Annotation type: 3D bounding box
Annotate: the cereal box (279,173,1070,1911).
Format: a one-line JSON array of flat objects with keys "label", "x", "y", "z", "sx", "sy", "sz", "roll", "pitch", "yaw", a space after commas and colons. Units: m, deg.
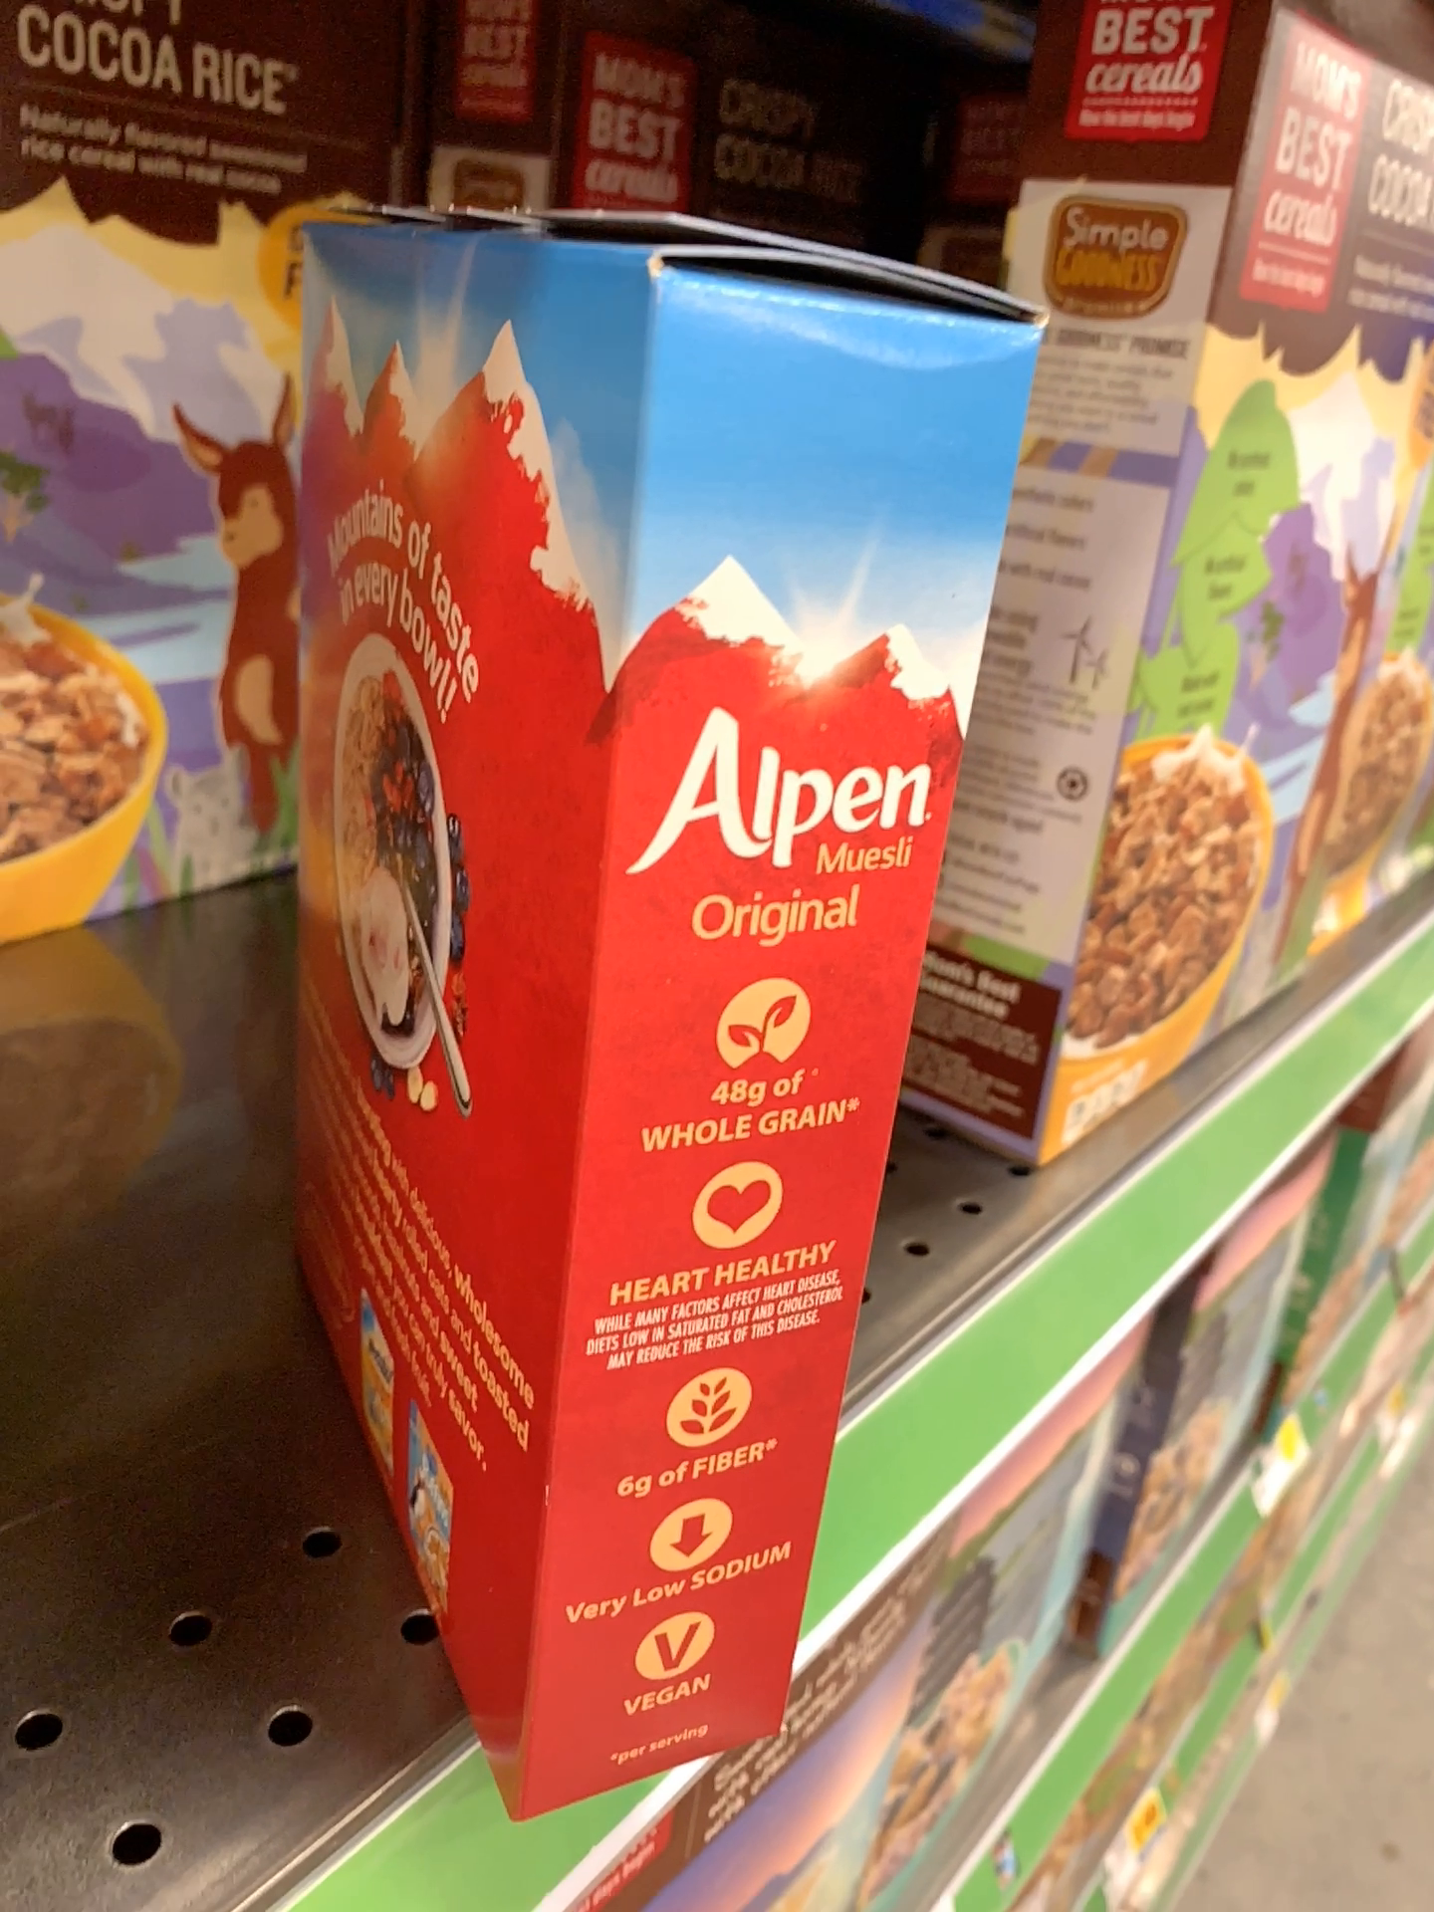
[{"label": "cereal box", "x": -0.032, "y": -0.001, "z": 0.233, "sx": 0.040, "sy": 0.209, "sz": 0.161, "roll": -5, "pitch": 26, "yaw": -26}]
